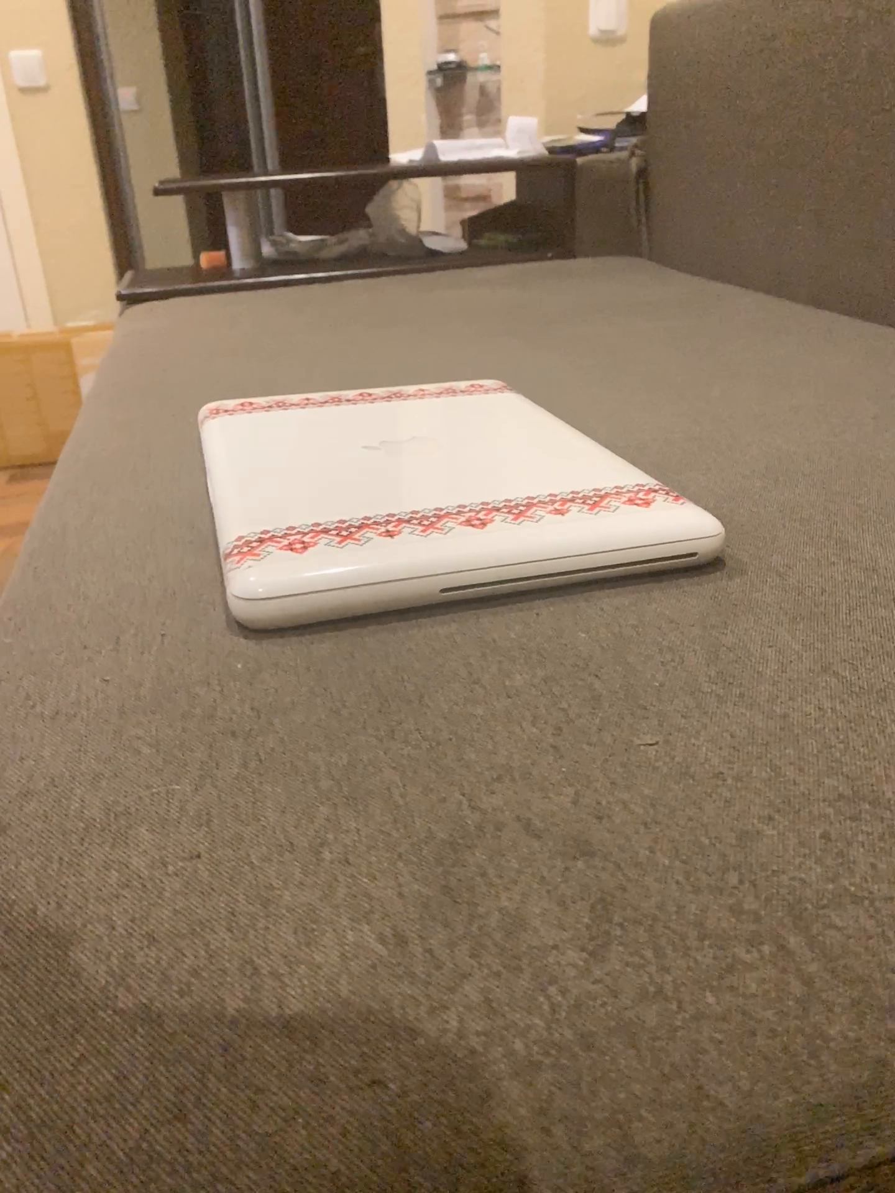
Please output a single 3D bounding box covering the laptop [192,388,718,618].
[{"bbox_3d":[-0.029,-0.076,0.549,0.222,0.003,0.327,-10,27,-14],"label":"laptop"}]
